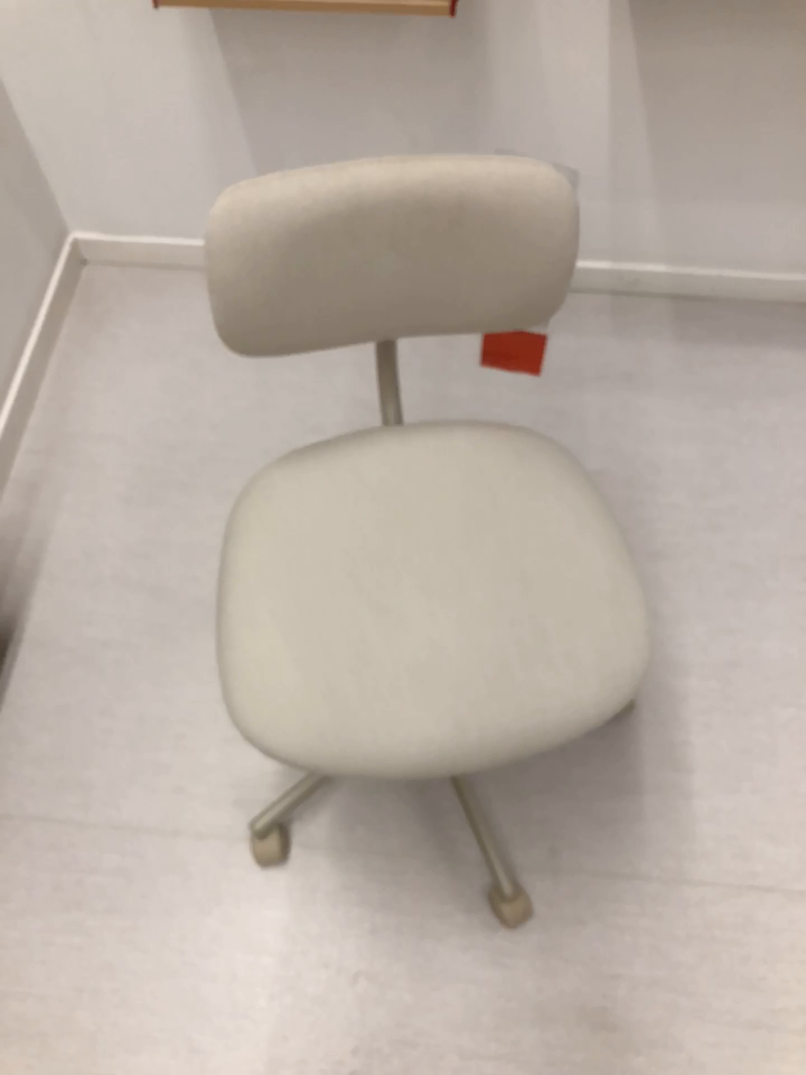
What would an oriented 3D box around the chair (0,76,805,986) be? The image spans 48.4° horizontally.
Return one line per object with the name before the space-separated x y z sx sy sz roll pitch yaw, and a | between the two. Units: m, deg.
chair | 0.035 0.075 1.034 0.640 0.767 0.692 -7 62 -3
